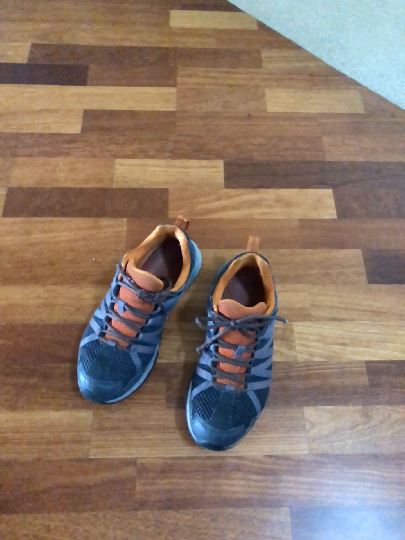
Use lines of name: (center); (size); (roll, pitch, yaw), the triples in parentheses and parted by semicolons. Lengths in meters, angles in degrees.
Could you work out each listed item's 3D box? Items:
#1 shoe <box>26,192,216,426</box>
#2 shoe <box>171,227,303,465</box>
shoe: (-0.095, 0.049, 0.618); (0.113, 0.117, 0.282); (24, 64, 9)
shoe: (0.049, 0.099, 0.603); (0.118, 0.117, 0.279); (12, 63, 3)
